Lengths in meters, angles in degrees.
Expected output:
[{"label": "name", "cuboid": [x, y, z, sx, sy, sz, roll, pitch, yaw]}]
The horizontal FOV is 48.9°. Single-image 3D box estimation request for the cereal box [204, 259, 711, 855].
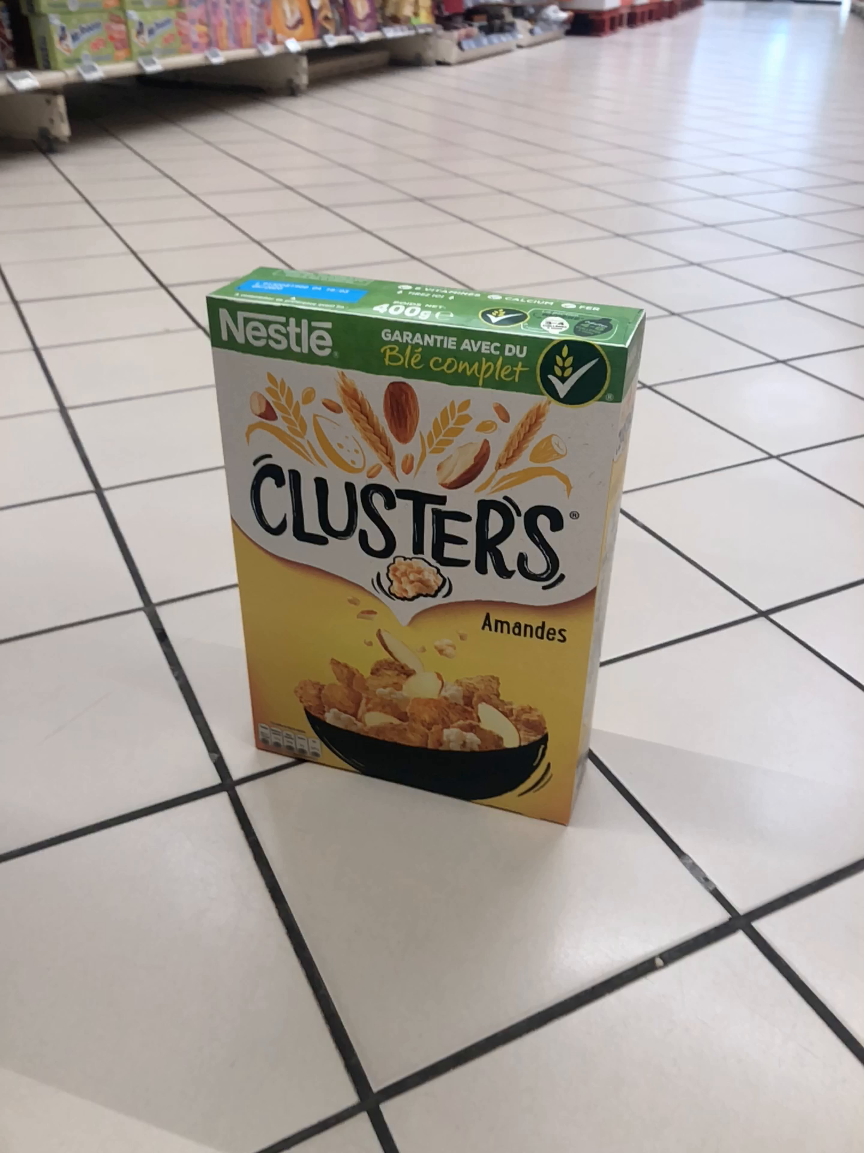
[{"label": "cereal box", "cuboid": [0.007, -0.004, 0.480, 0.210, 0.268, 0.060, 12, 33, 16]}]
